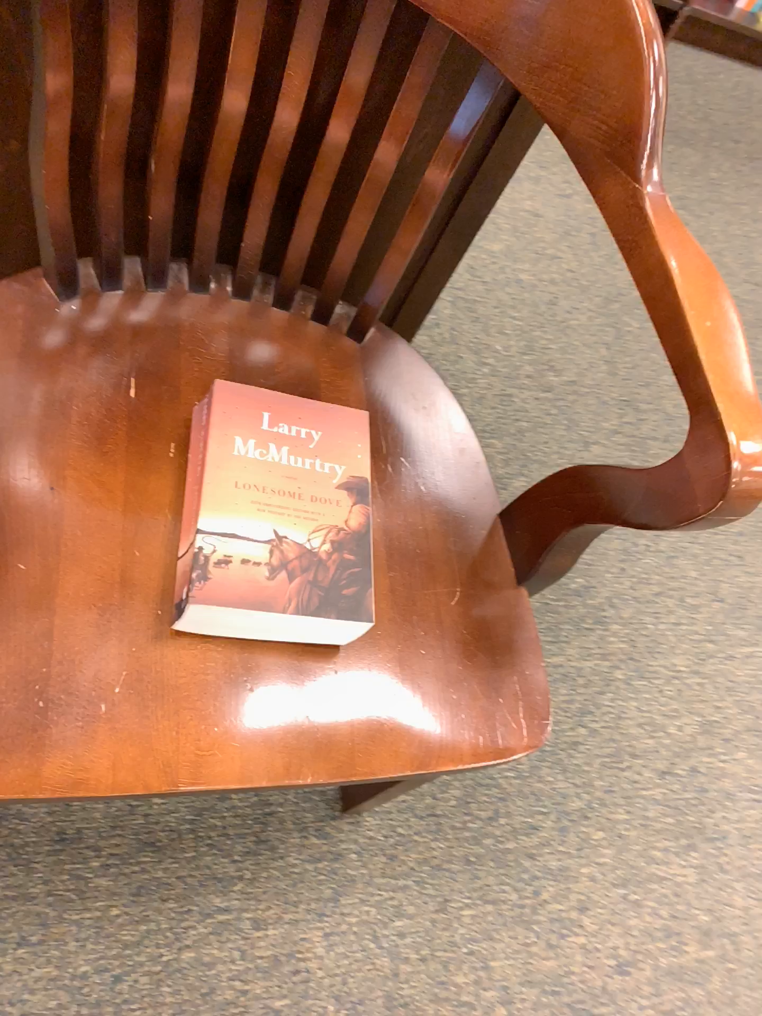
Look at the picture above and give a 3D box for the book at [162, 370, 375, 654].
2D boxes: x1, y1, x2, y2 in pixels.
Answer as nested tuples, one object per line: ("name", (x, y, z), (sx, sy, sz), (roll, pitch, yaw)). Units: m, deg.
("book", (-0.084, 0.002, 0.607), (0.140, 0.060, 0.201), (9, 56, -17))
